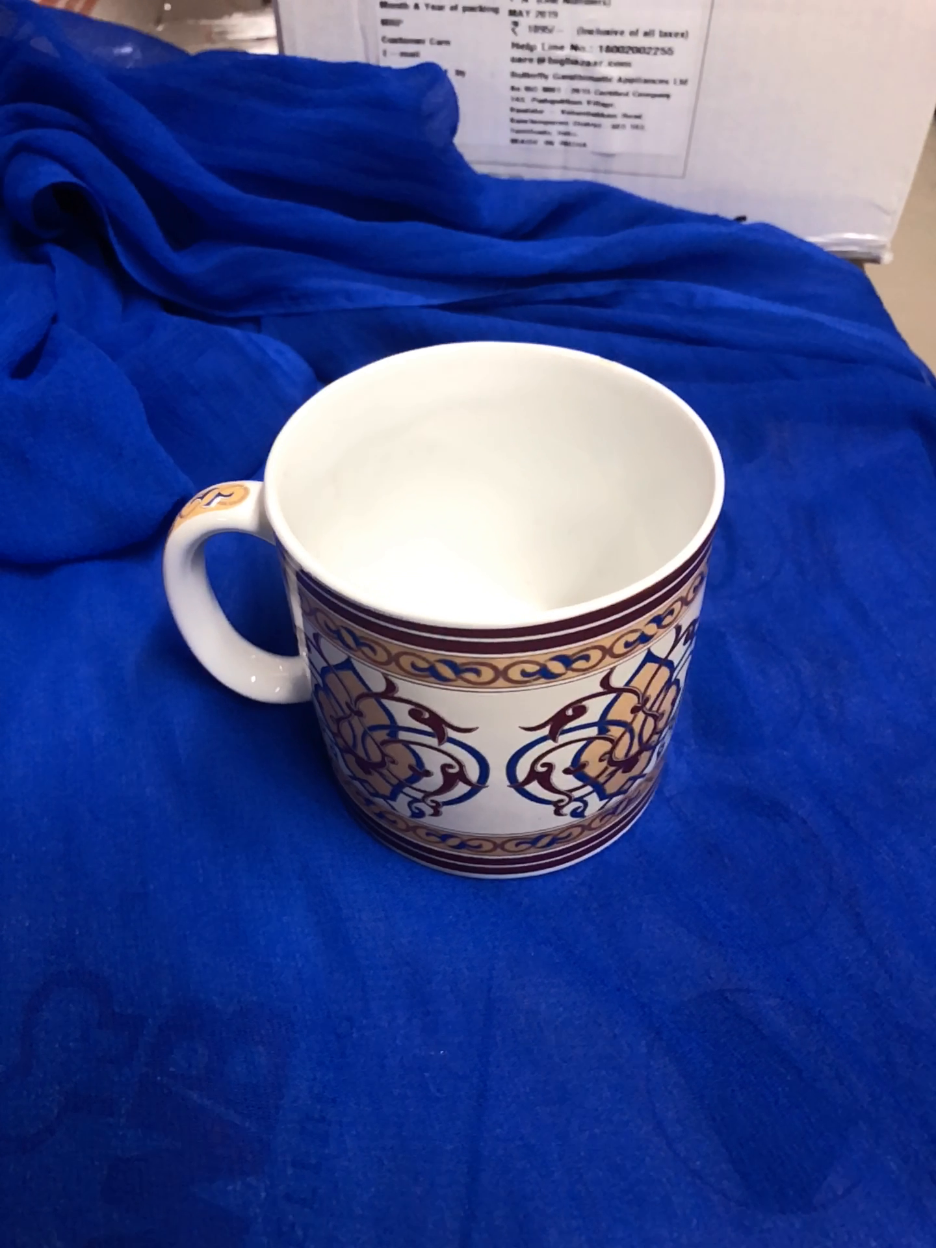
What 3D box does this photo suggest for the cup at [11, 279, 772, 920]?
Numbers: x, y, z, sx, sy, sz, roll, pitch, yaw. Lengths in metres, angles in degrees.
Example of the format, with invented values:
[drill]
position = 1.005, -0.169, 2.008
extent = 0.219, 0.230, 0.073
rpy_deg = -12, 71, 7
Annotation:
[cup]
position = -0.009, -0.005, 0.207
extent = 0.110, 0.080, 0.080
rpy_deg = 7, 47, 3
